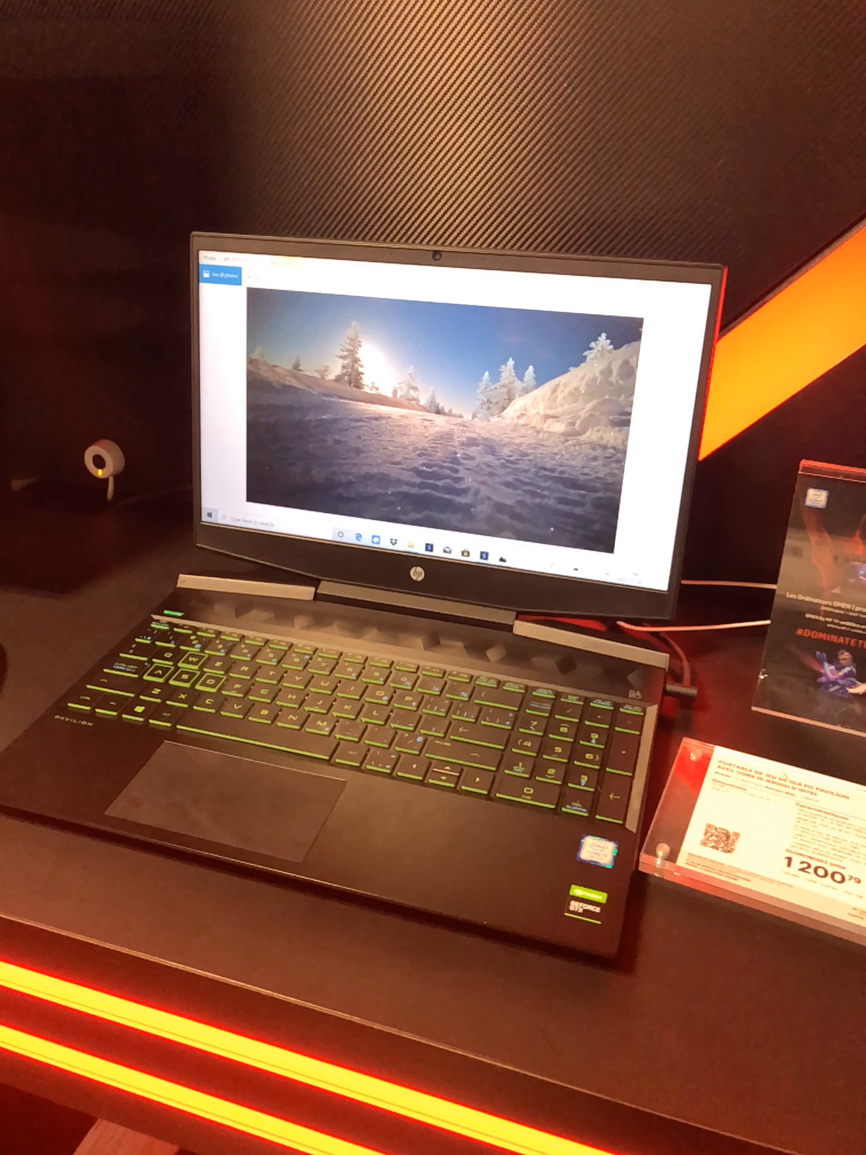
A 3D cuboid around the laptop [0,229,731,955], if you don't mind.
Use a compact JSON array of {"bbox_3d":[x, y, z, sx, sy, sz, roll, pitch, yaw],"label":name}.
[{"bbox_3d":[-0.037,-0.040,0.550,0.355,0.240,0.315,8,29,16],"label":"laptop"}]
